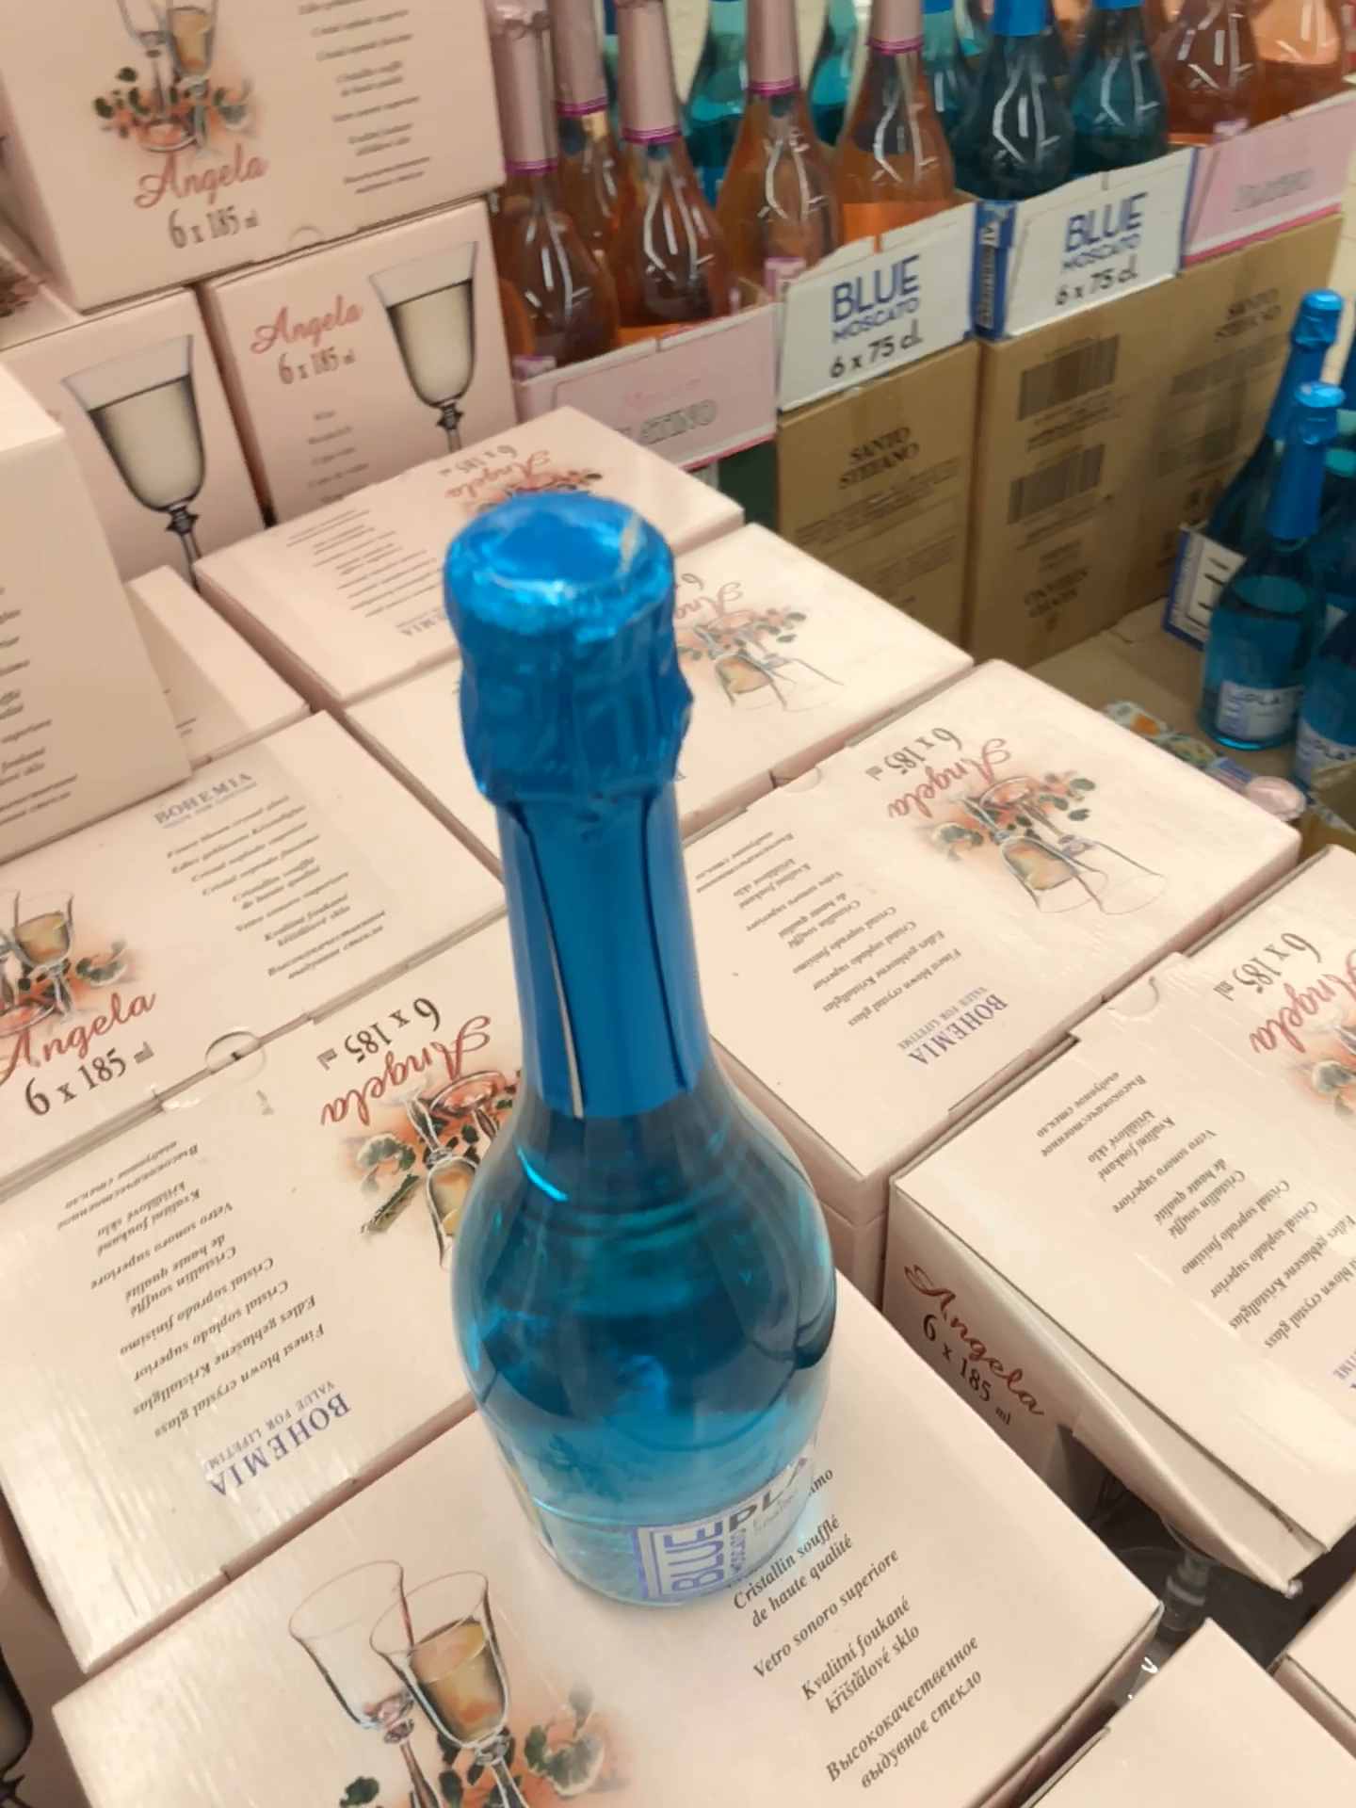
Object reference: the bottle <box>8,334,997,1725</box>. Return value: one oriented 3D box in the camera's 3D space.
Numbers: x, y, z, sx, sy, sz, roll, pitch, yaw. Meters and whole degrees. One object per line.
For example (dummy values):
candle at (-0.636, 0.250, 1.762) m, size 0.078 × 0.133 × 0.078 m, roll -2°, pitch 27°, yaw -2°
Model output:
bottle at (-0.017, 0.048, 0.311) m, size 0.100 × 0.279 × 0.100 m, roll -2°, pitch 44°, yaw 2°

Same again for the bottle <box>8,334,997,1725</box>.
bottle at (-0.017, 0.048, 0.311) m, size 0.100 × 0.279 × 0.100 m, roll -2°, pitch 44°, yaw 2°
